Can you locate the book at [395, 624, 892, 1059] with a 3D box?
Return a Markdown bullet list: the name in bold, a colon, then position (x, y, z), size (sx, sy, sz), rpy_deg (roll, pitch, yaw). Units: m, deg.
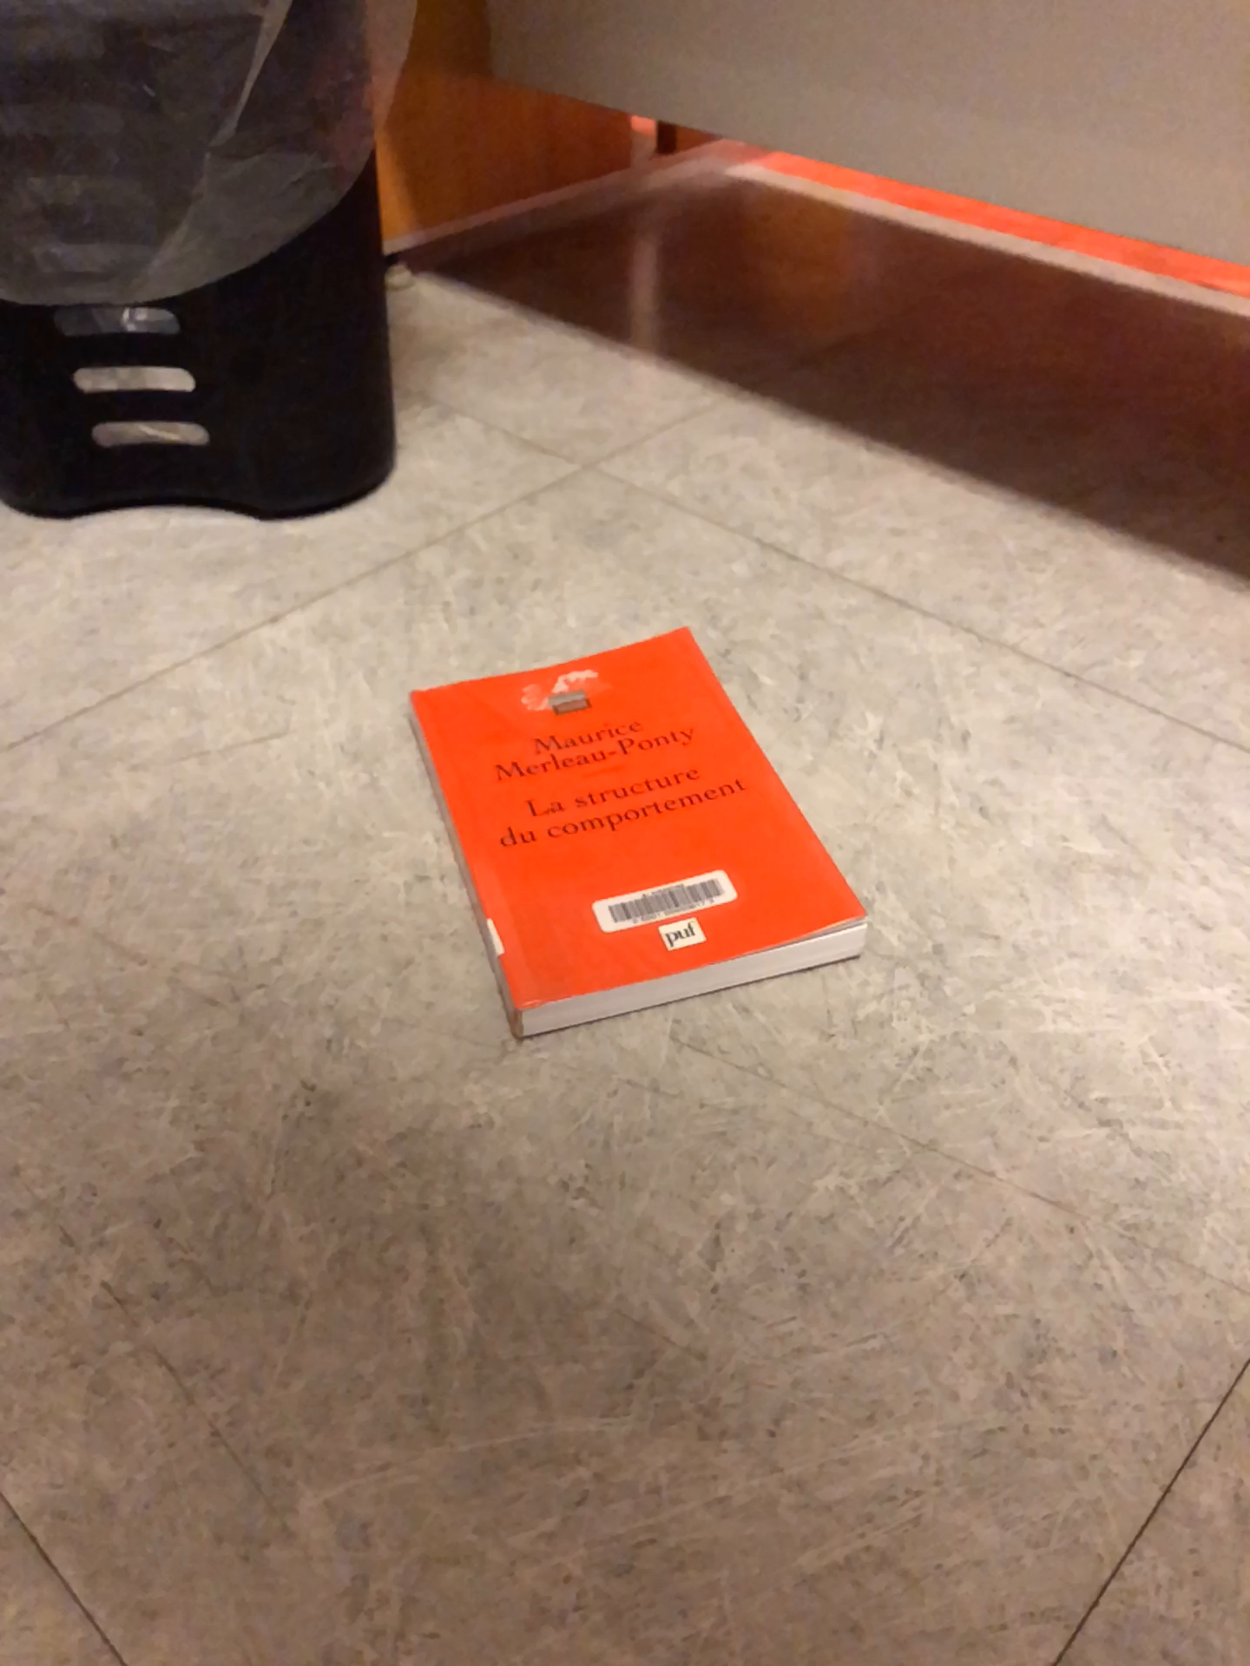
- **book**: position (-0.003, -0.010, 0.531), size (0.135, 0.020, 0.201), rpy_deg (-11, 42, -13)
